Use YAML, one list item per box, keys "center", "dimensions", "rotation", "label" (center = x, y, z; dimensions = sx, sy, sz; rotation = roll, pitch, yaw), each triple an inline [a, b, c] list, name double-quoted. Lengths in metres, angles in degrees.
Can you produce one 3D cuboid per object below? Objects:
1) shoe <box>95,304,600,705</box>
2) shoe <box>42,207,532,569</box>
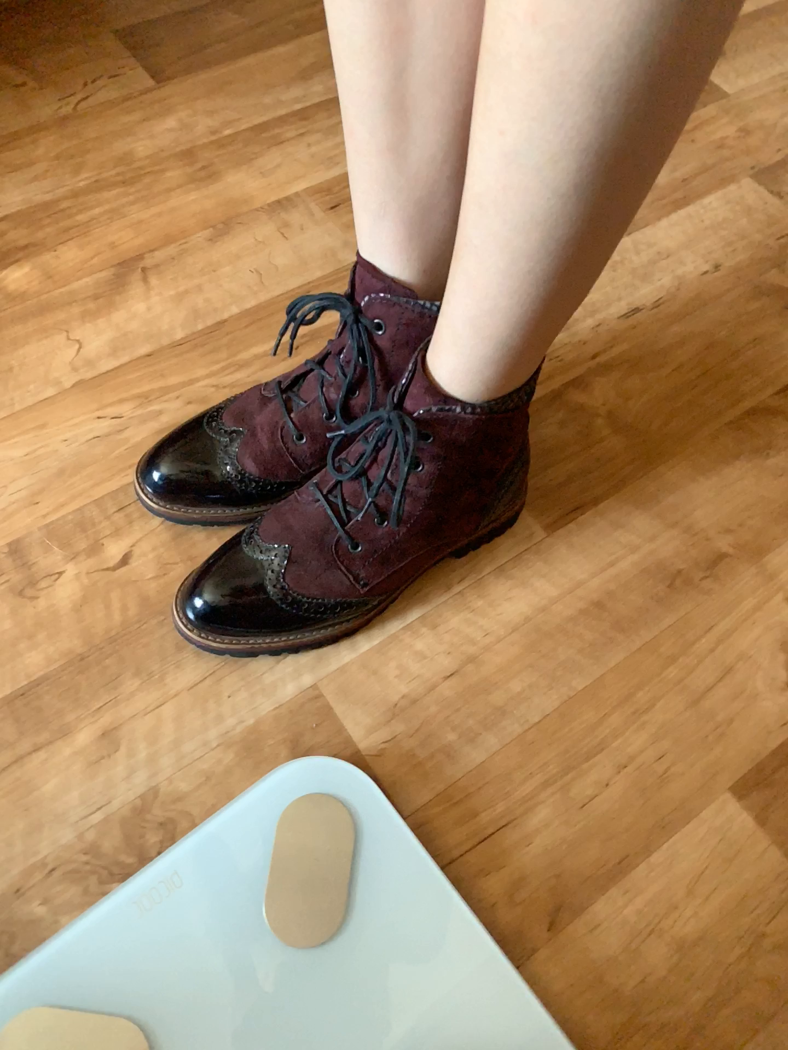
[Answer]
- center: [-0.025, -0.012, 0.502]
  dimensions: [0.260, 0.140, 0.100]
  rotation: [-25, 67, -17]
  label: "shoe"
- center: [-0.063, -0.087, 0.523]
  dimensions: [0.260, 0.140, 0.100]
  rotation: [-20, 65, -15]
  label: "shoe"
